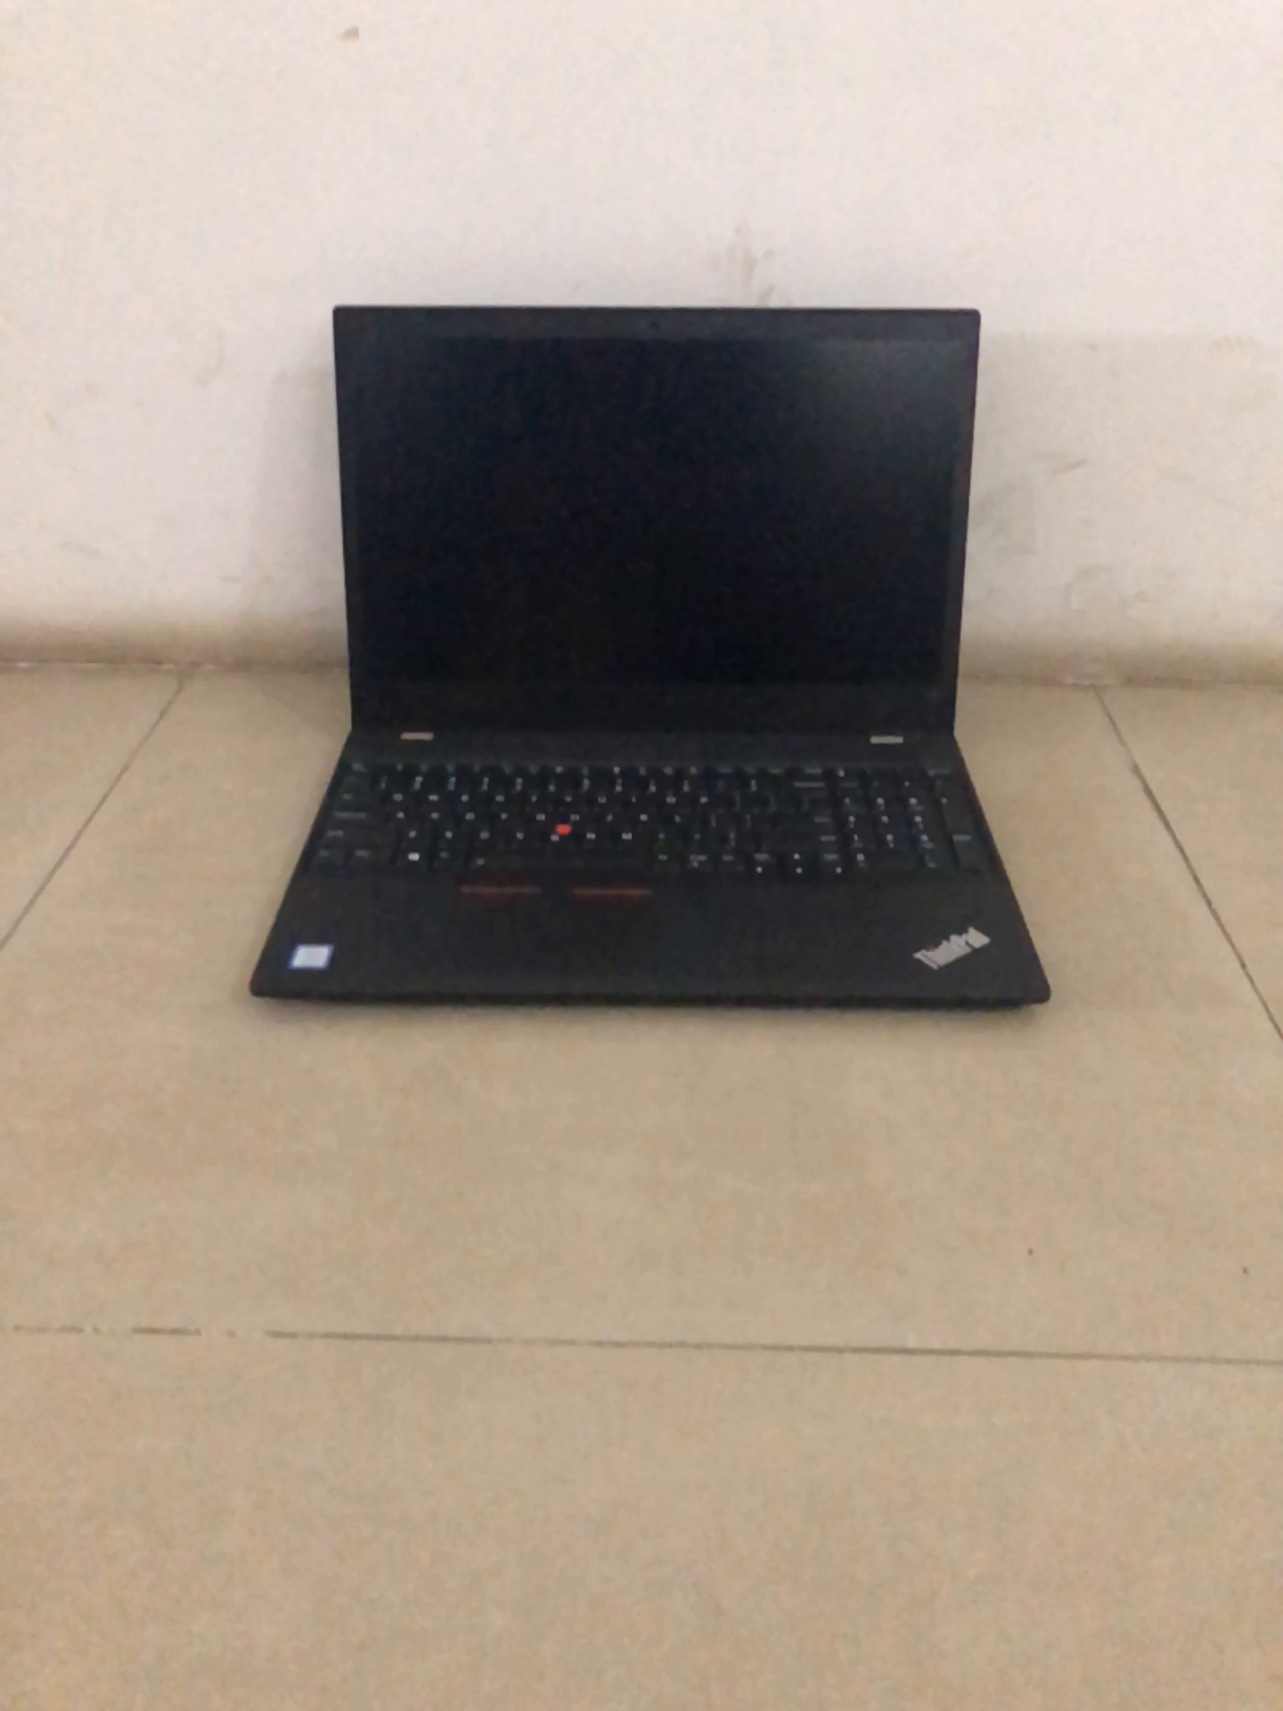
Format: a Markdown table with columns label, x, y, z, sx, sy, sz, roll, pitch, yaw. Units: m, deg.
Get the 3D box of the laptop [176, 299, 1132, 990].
| label | x | y | z | sx | sy | sz | roll | pitch | yaw |
| --- | --- | --- | --- | --- | --- | --- | --- | --- | --- |
| laptop | 0.005 | -0.126 | 0.712 | 0.351 | 0.214 | 0.329 | 1 | 34 | 0 |
